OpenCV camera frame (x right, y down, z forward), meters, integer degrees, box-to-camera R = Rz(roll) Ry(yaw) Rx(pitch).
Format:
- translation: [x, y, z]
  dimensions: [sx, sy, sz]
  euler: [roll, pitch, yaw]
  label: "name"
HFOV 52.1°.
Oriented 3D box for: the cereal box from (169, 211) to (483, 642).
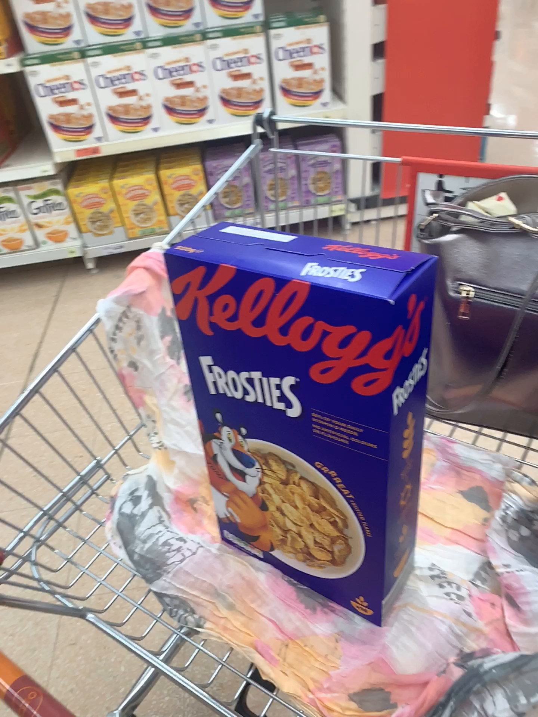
- translation: [0.042, 0.064, 0.482]
  dimensions: [0.211, 0.337, 0.080]
  euler: [18, 38, 30]
  label: "cereal box"
